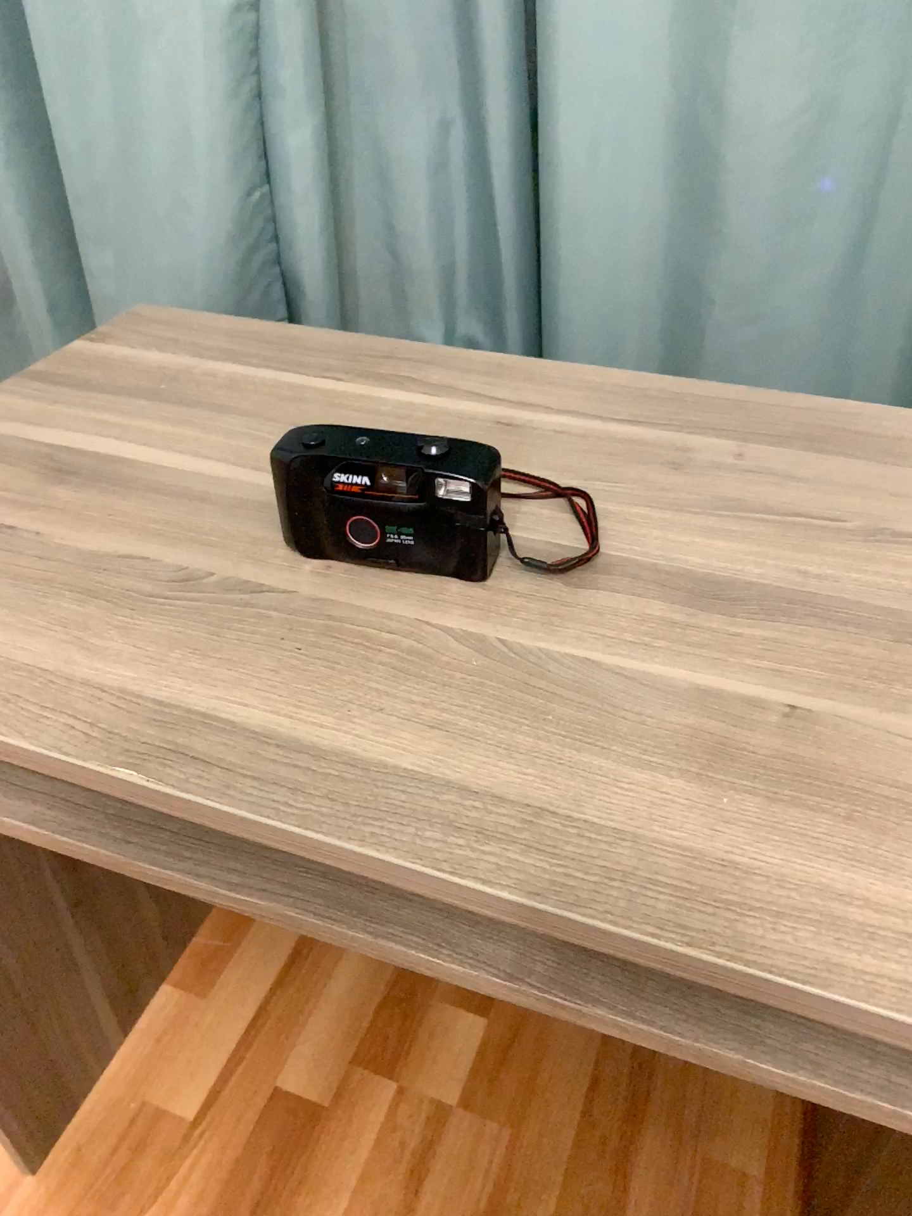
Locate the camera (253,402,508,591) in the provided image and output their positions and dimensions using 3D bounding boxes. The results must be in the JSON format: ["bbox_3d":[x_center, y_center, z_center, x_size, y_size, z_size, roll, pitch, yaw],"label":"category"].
[{"bbox_3d":[-0.038,-0.060,0.493,0.120,0.069,0.046,10,37,12],"label":"camera"}]
